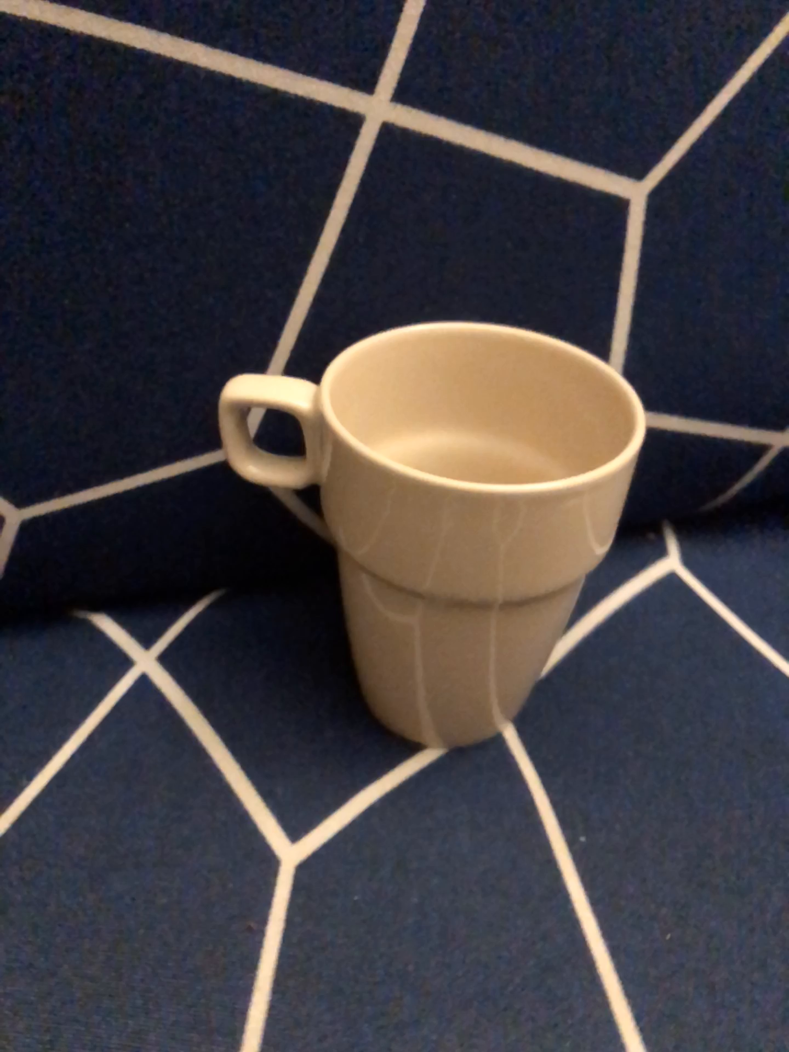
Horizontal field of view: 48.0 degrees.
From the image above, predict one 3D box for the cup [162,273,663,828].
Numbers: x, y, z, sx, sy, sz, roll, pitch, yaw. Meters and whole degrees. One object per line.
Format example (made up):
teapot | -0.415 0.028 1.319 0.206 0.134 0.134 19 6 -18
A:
cup | 0.007 0.004 0.250 0.104 0.109 0.090 9 37 6
